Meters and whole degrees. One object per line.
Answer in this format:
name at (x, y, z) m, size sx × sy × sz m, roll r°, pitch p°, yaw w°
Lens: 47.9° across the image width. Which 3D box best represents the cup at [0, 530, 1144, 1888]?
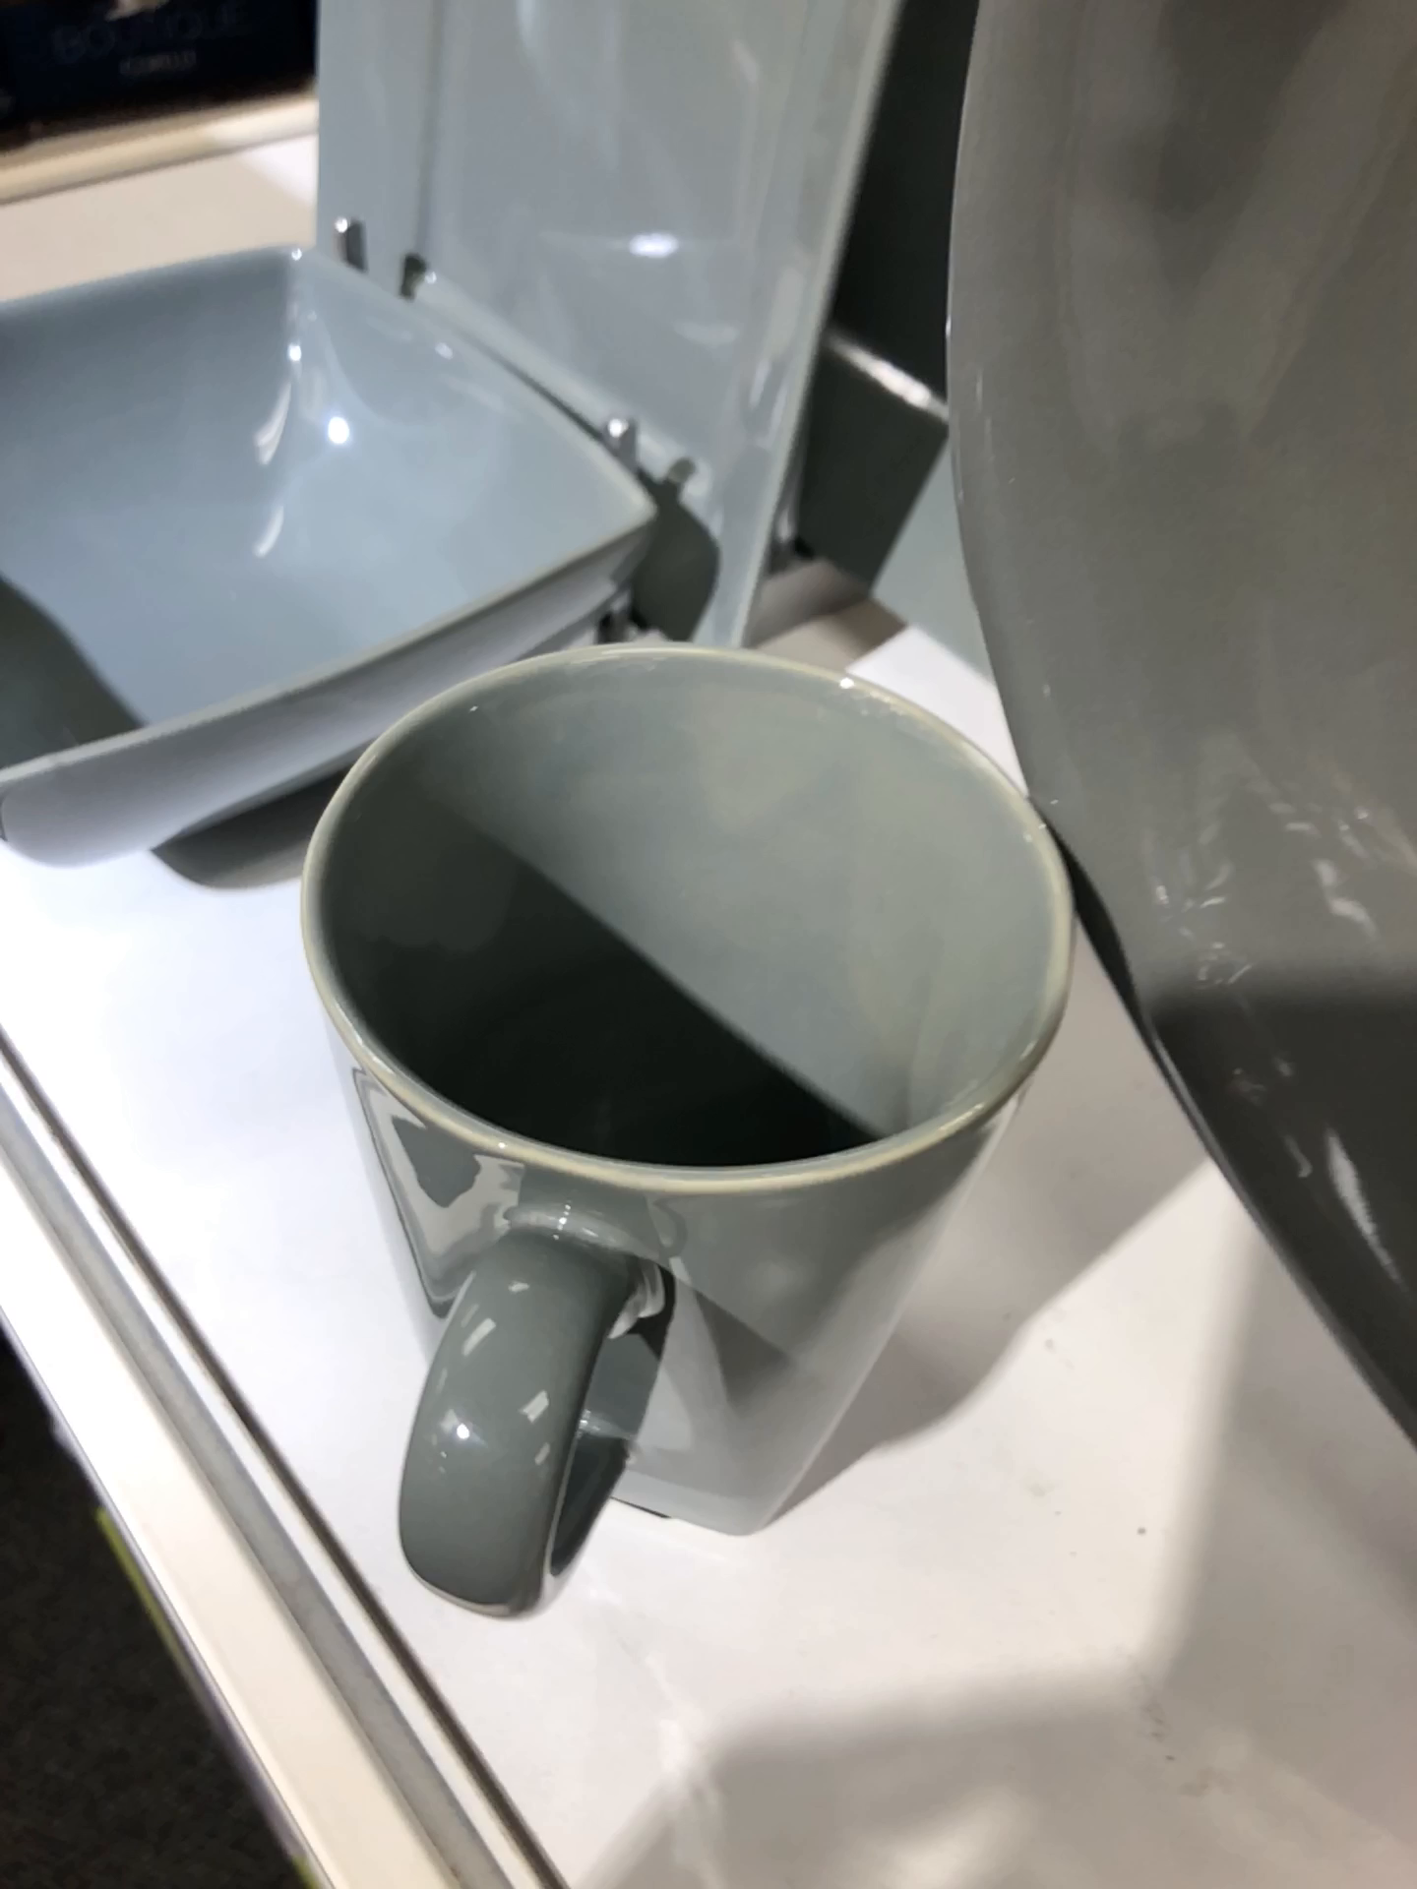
cup at (-0.013, 0.030, 0.206) m, size 0.100 × 0.097 × 0.118 m, roll 15°, pitch 48°, yaw 9°
